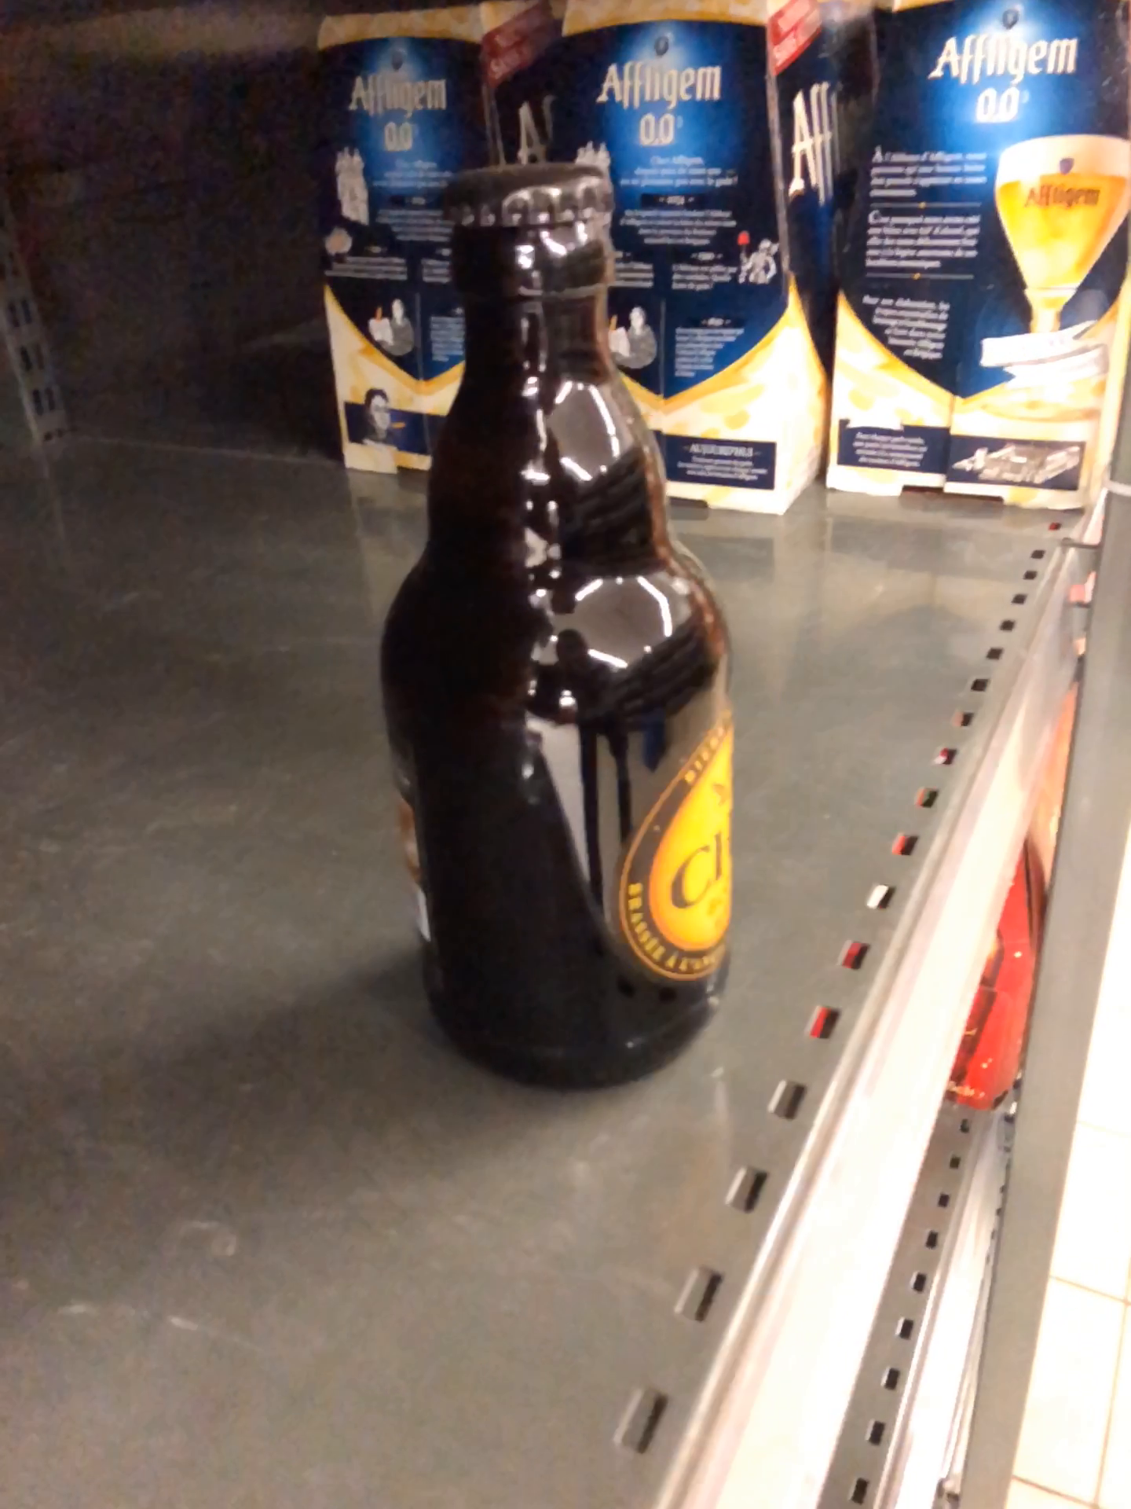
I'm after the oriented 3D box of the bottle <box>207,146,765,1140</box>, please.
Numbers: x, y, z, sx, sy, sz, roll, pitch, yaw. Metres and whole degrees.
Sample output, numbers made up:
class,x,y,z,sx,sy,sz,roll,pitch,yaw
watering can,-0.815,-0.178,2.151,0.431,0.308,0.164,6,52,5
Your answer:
class,x,y,z,sx,sy,sz,roll,pitch,yaw
bottle,-0.003,-0.019,0.240,0.070,0.169,0.070,-3,30,2
